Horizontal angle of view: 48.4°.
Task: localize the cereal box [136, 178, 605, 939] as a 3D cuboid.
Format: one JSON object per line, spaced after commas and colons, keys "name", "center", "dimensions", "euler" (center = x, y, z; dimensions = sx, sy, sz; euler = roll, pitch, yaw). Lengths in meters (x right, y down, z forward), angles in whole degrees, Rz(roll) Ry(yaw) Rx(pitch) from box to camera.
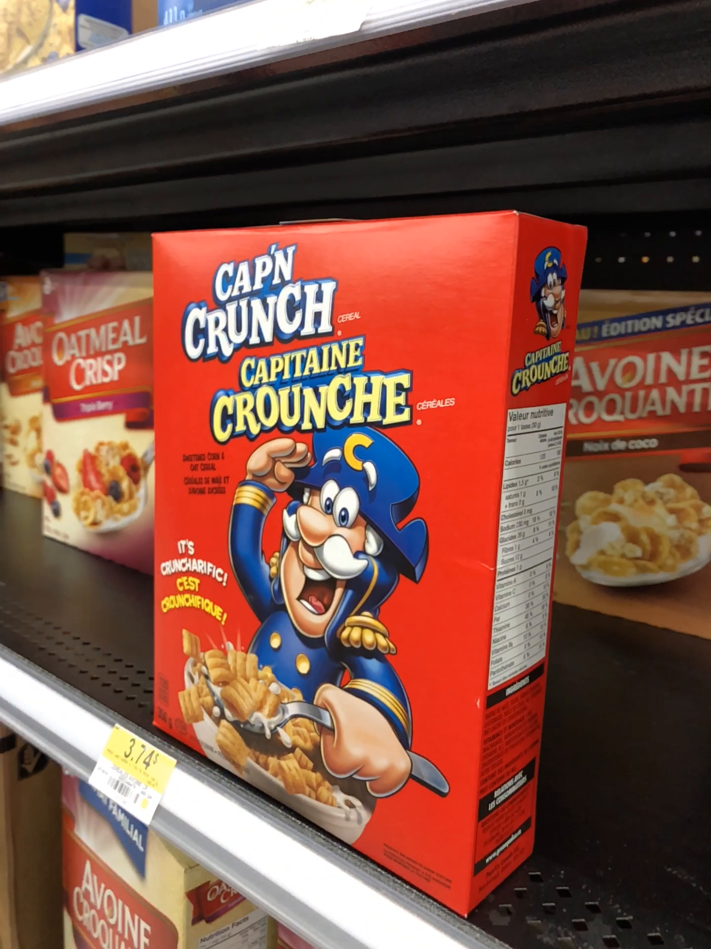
{"name": "cereal box", "center": [-0.013, 0.020, 0.373], "dimensions": [0.220, 0.279, 0.060], "euler": [12, 14, 40]}
